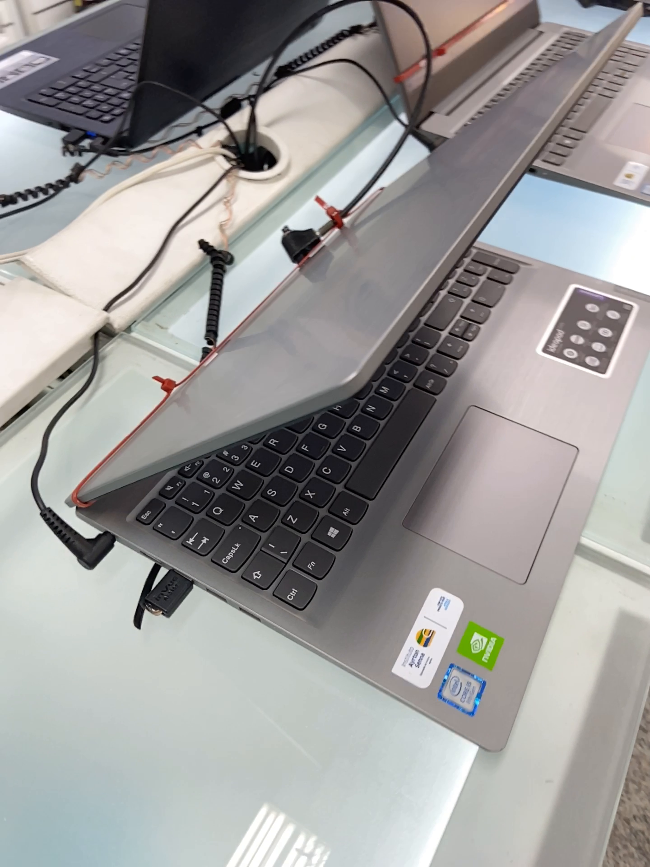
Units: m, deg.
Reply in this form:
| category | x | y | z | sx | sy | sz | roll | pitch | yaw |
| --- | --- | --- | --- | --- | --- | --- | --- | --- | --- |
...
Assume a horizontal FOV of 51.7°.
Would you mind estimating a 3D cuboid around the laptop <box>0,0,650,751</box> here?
| category | x | y | z | sx | sy | sz | roll | pitch | yaw |
| --- | --- | --- | --- | --- | --- | --- | --- | --- | --- |
| laptop | 0.060 | -0.084 | 0.366 | 0.244 | 0.175 | 0.361 | 24 | 53 | 18 |
